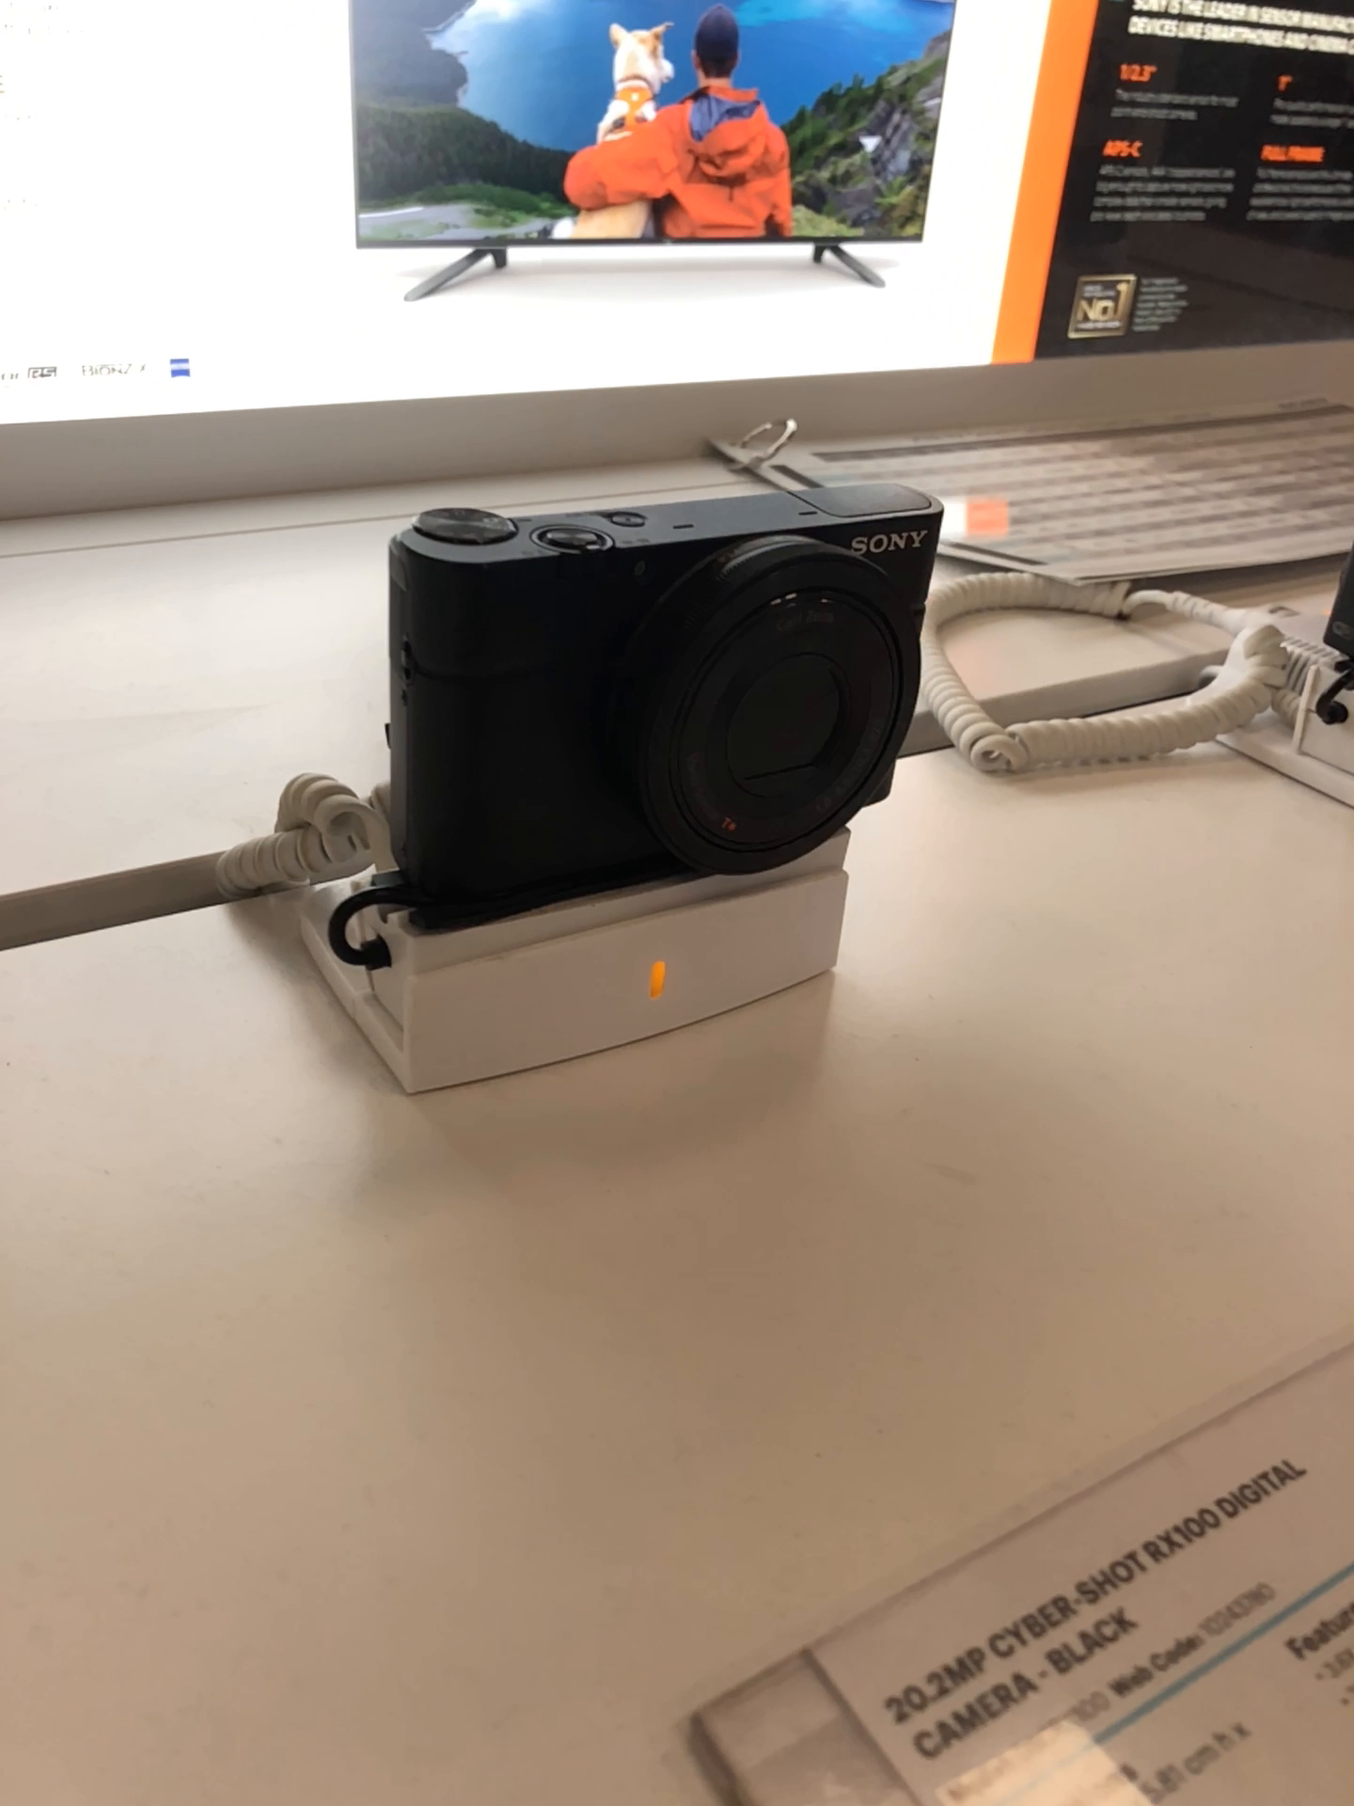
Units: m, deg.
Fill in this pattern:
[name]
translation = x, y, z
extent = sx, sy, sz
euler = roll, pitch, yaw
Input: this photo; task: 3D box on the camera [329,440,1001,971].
[camera]
translation = -0.001, -0.038, 0.263
extent = 0.110, 0.070, 0.030
euler = -14, 34, -29
